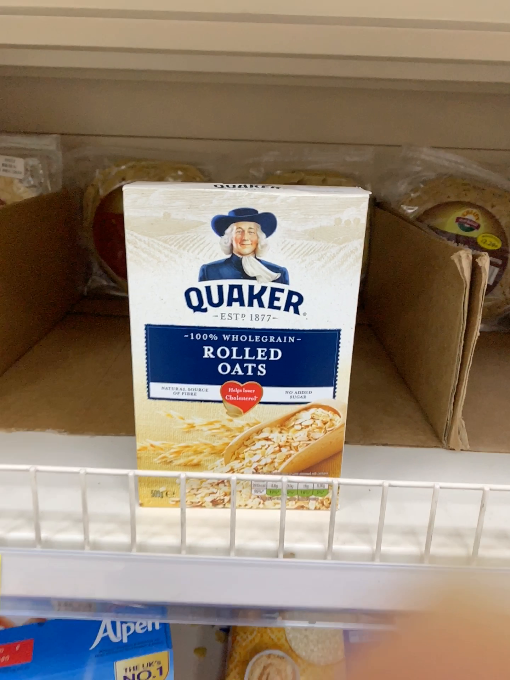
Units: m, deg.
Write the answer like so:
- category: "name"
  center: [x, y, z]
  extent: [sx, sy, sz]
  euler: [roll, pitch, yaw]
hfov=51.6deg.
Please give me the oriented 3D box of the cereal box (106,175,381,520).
- category: "cereal box"
  center: [-0.009, 0.008, 0.353]
  extent: [0.150, 0.218, 0.060]
  euler: [2, 19, -1]
